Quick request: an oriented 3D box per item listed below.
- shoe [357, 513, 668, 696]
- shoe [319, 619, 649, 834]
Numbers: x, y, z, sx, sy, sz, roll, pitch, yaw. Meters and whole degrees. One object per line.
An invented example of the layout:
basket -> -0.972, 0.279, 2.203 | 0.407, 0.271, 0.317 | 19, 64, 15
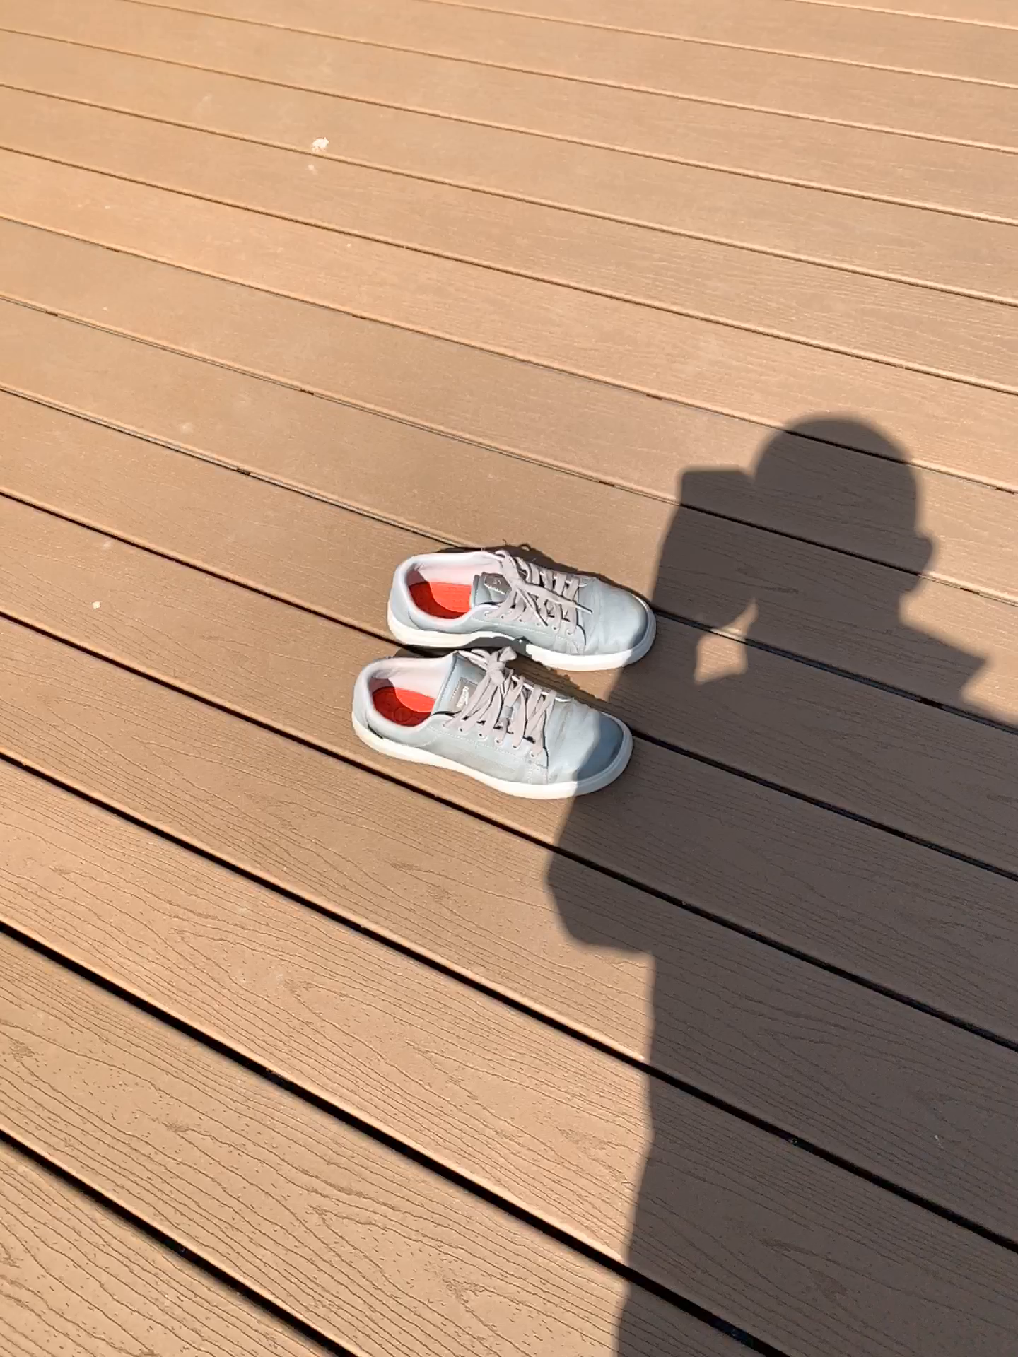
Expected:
shoe -> 0.009, -0.078, 1.070 | 0.290, 0.100, 0.120 | 8, 61, 12
shoe -> -0.019, 0.045, 1.019 | 0.290, 0.100, 0.120 | 12, 62, 14
